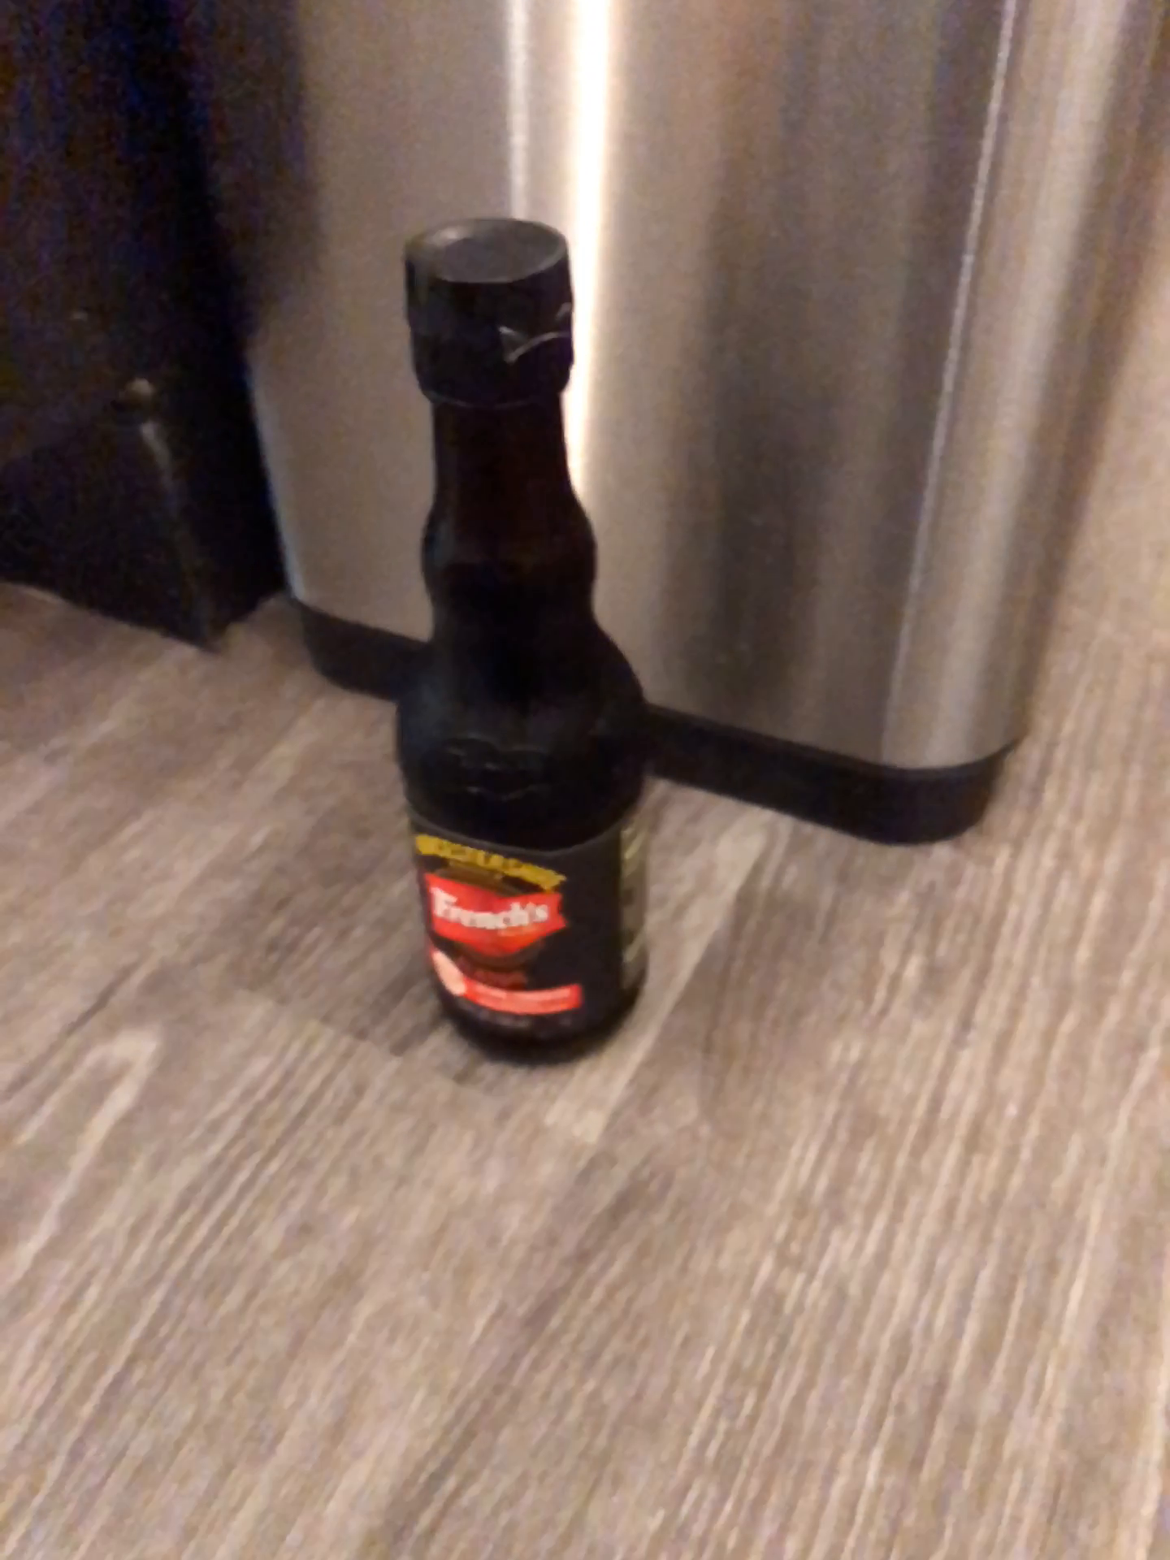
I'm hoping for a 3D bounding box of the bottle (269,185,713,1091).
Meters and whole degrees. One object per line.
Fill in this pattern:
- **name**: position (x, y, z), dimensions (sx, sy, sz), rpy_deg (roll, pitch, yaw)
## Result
- **bottle**: position (-0.013, -0.019, 0.301), dimensions (0.060, 0.199, 0.060), rpy_deg (-1, 42, 1)
